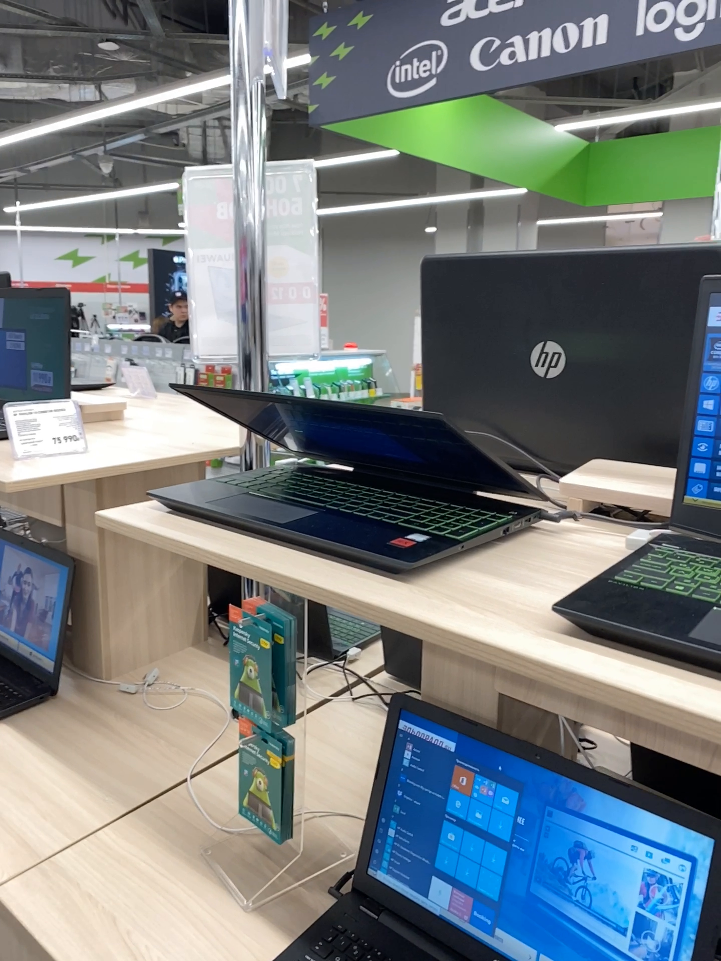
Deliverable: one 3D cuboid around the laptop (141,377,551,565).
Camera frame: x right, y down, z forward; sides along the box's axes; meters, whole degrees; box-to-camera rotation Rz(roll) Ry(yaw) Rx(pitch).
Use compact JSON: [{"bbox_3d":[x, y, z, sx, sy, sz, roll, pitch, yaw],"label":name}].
[{"bbox_3d":[-0.023,-0.035,0.788,0.365,0.115,0.244,11,16,39],"label":"laptop"}]
